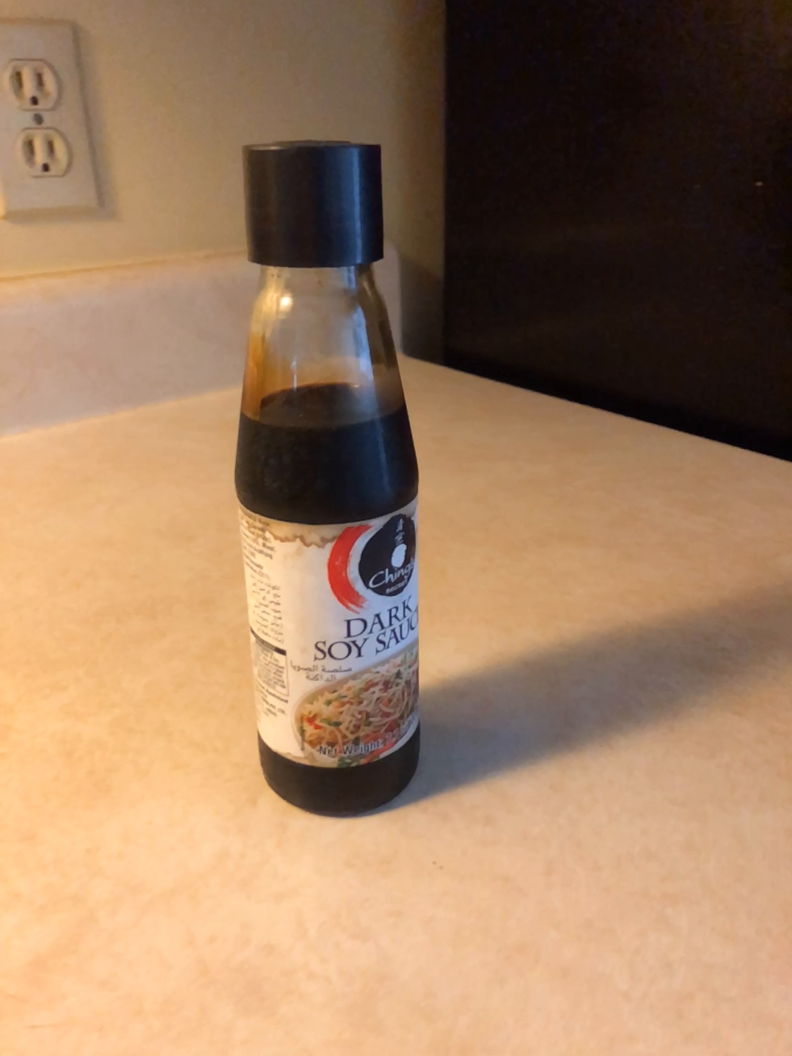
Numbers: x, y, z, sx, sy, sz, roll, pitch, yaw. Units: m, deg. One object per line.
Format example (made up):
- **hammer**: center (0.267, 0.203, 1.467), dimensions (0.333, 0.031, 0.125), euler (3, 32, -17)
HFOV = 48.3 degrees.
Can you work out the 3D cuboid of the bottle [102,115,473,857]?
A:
- **bottle**: center (-0.022, -0.011, 0.239), dimensions (0.060, 0.180, 0.060), euler (-1, 24, 1)
